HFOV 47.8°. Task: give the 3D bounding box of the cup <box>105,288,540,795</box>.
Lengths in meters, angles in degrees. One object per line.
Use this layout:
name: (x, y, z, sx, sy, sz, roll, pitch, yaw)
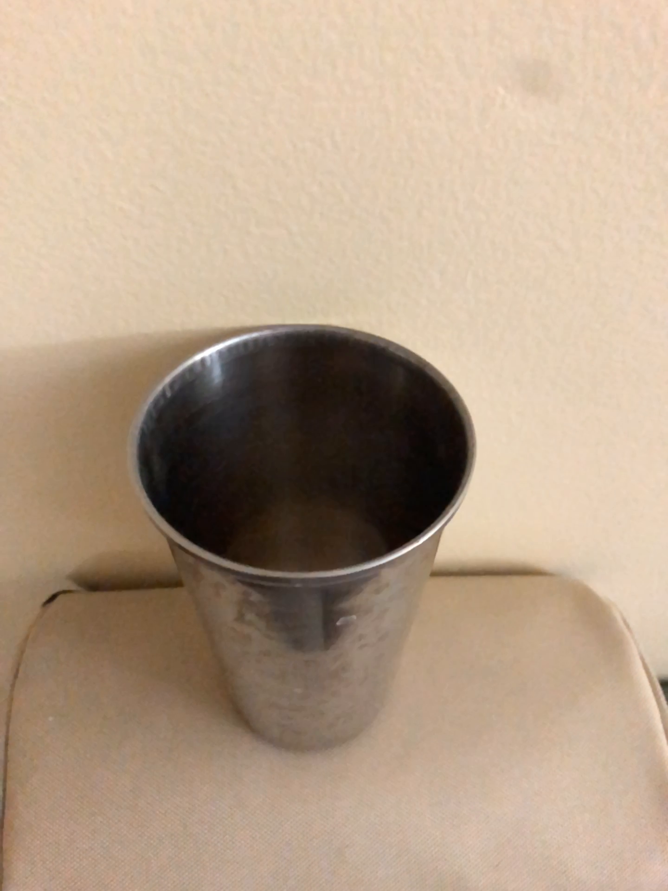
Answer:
cup: (-0.005, 0.029, 0.193, 0.074, 0.113, 0.073, 1, 44, -1)
